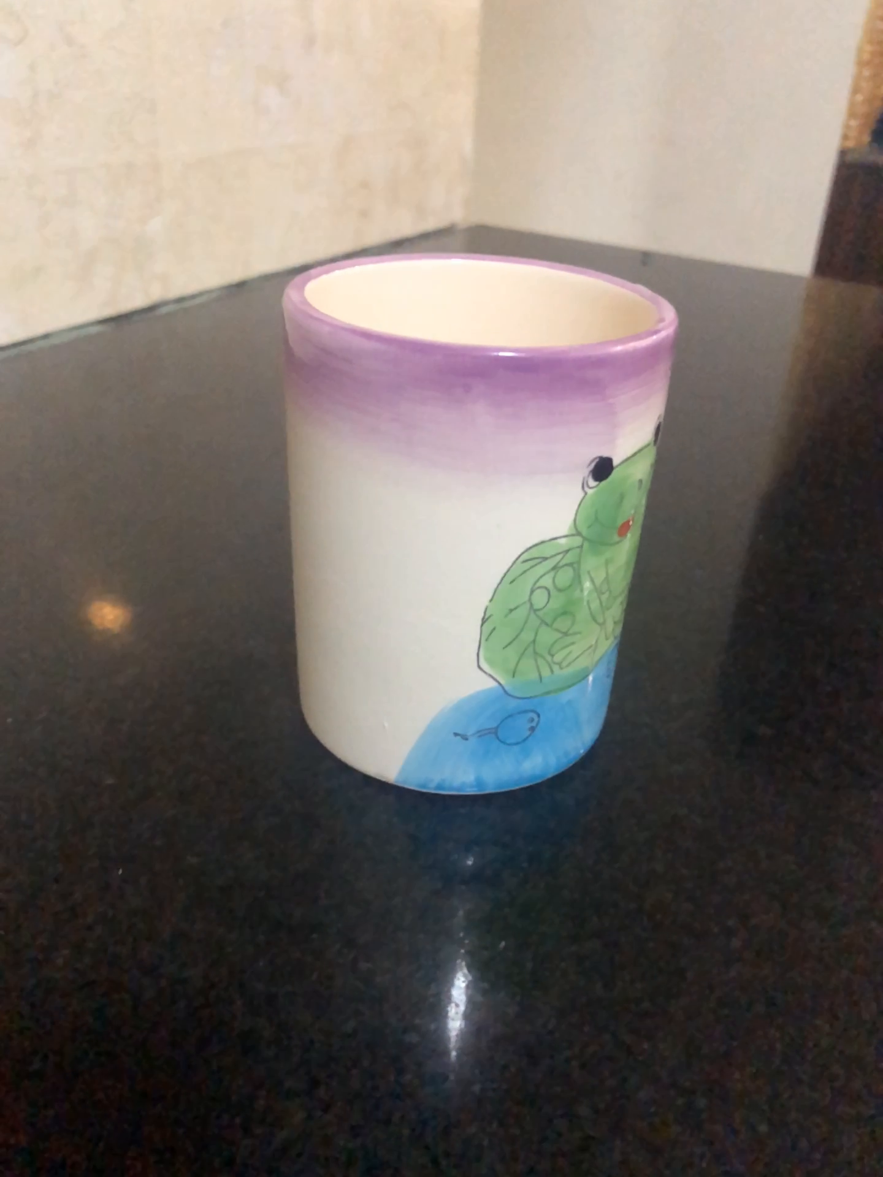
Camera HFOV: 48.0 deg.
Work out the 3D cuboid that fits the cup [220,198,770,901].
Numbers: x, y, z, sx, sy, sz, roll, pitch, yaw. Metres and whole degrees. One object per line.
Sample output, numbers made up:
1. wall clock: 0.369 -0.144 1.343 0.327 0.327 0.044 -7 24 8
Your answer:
1. cup: 0.018 -0.020 0.225 0.080 0.109 0.111 13 31 17
